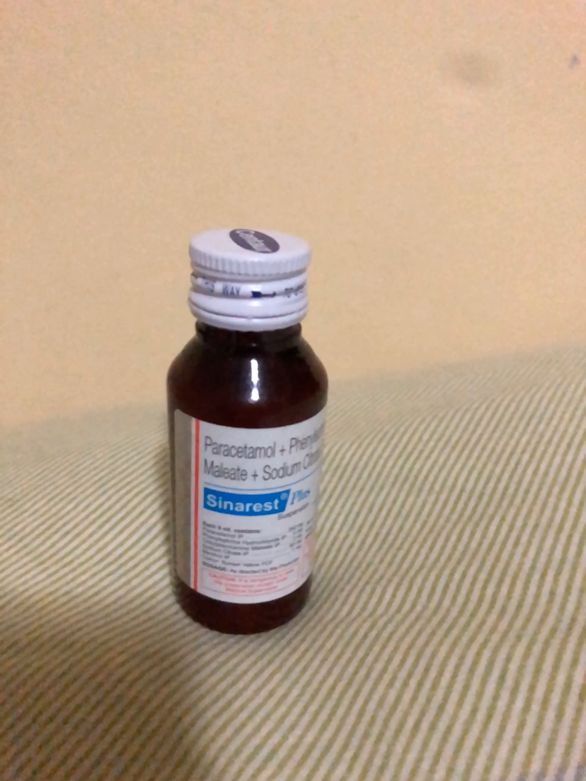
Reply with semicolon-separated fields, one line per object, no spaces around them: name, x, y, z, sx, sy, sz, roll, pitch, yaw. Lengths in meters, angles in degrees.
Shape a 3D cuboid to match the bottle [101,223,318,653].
bottle;-0.017;0.014;0.162;0.040;0.100;0.037;1;28;0
